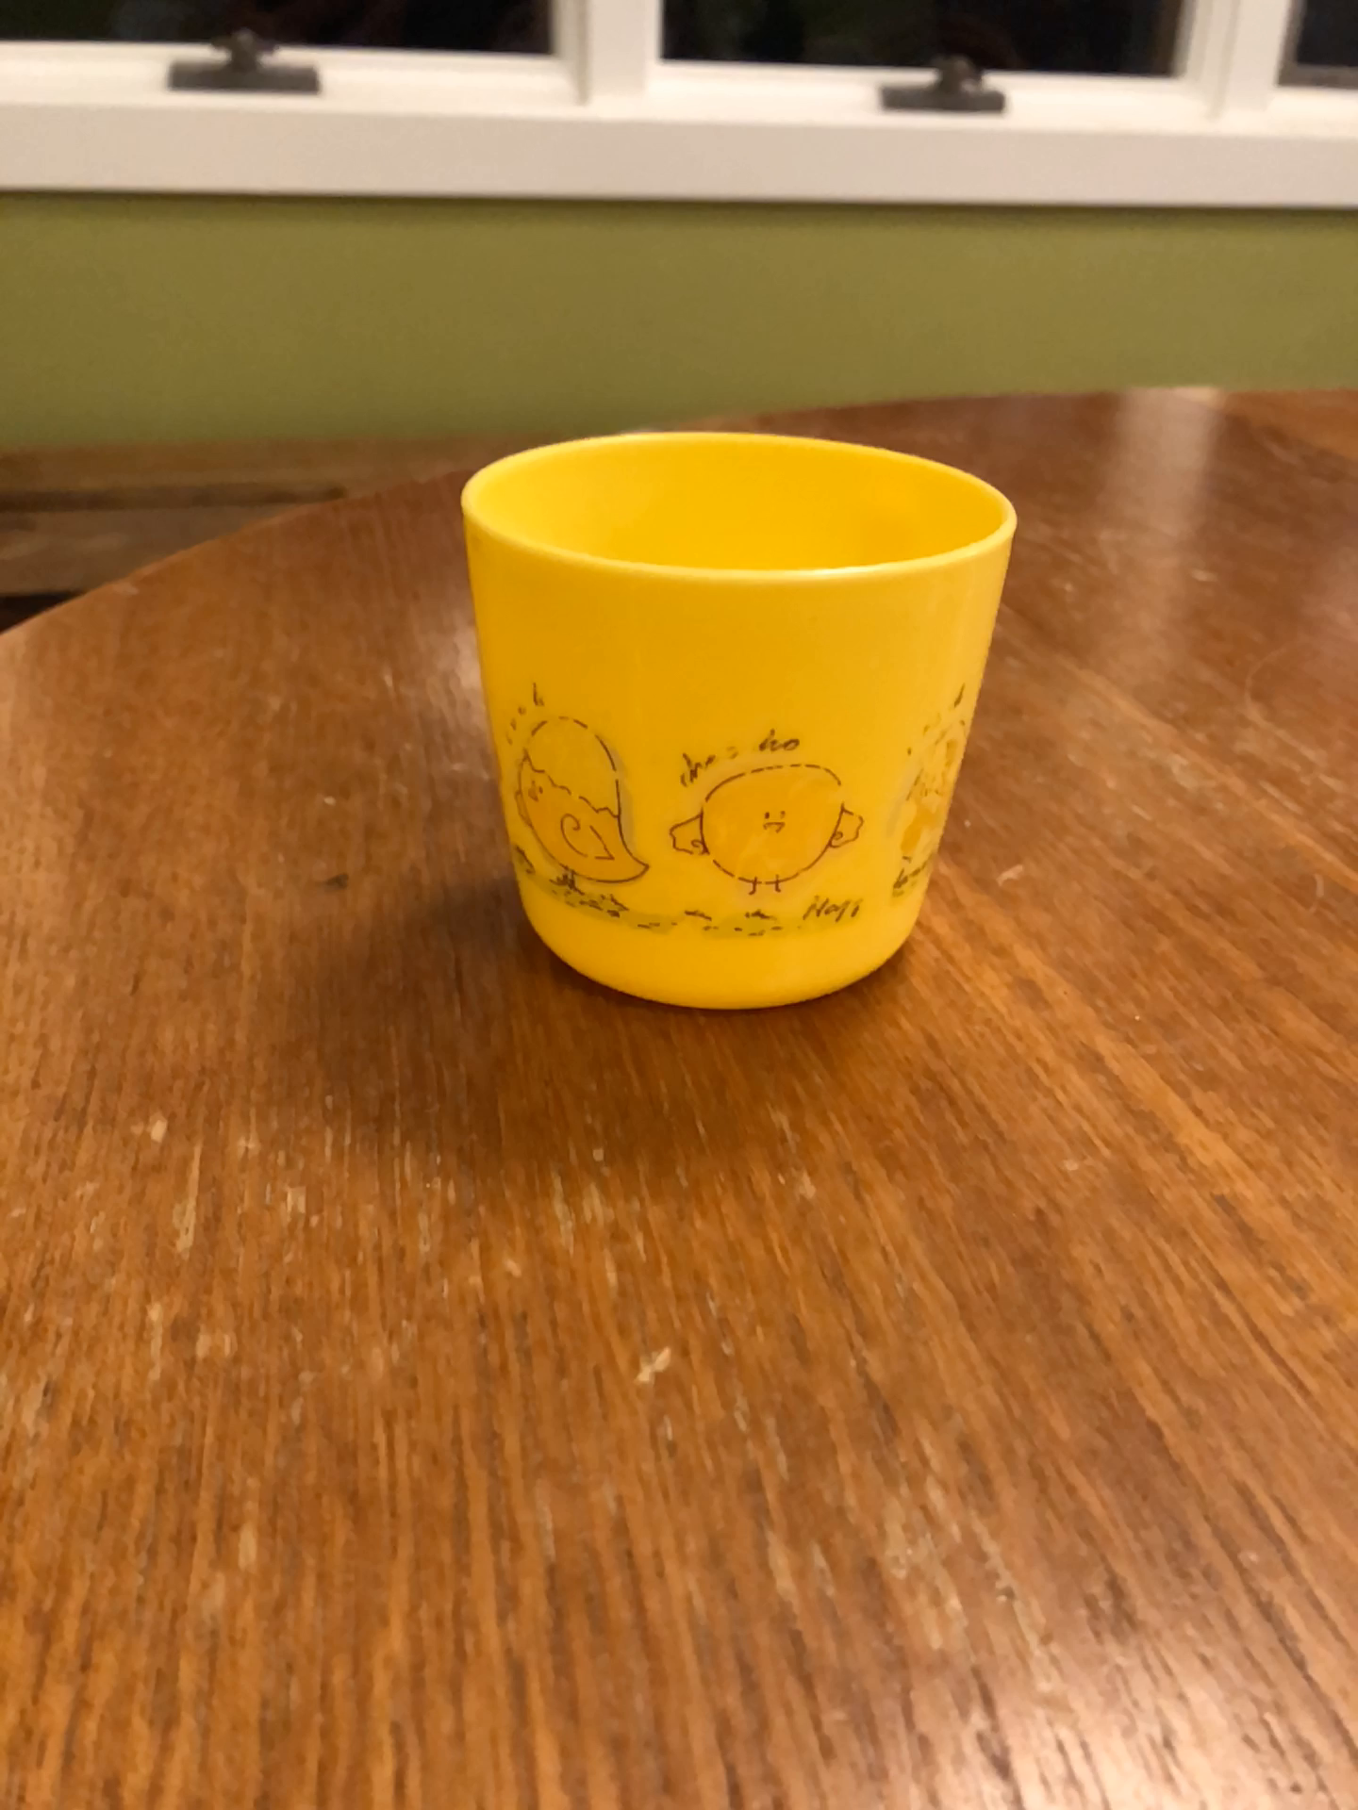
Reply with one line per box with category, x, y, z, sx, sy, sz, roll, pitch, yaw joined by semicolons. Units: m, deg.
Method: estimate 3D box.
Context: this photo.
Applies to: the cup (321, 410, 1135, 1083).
cup;0.009;-0.035;0.247;0.081;0.064;0.098;25;37;35
